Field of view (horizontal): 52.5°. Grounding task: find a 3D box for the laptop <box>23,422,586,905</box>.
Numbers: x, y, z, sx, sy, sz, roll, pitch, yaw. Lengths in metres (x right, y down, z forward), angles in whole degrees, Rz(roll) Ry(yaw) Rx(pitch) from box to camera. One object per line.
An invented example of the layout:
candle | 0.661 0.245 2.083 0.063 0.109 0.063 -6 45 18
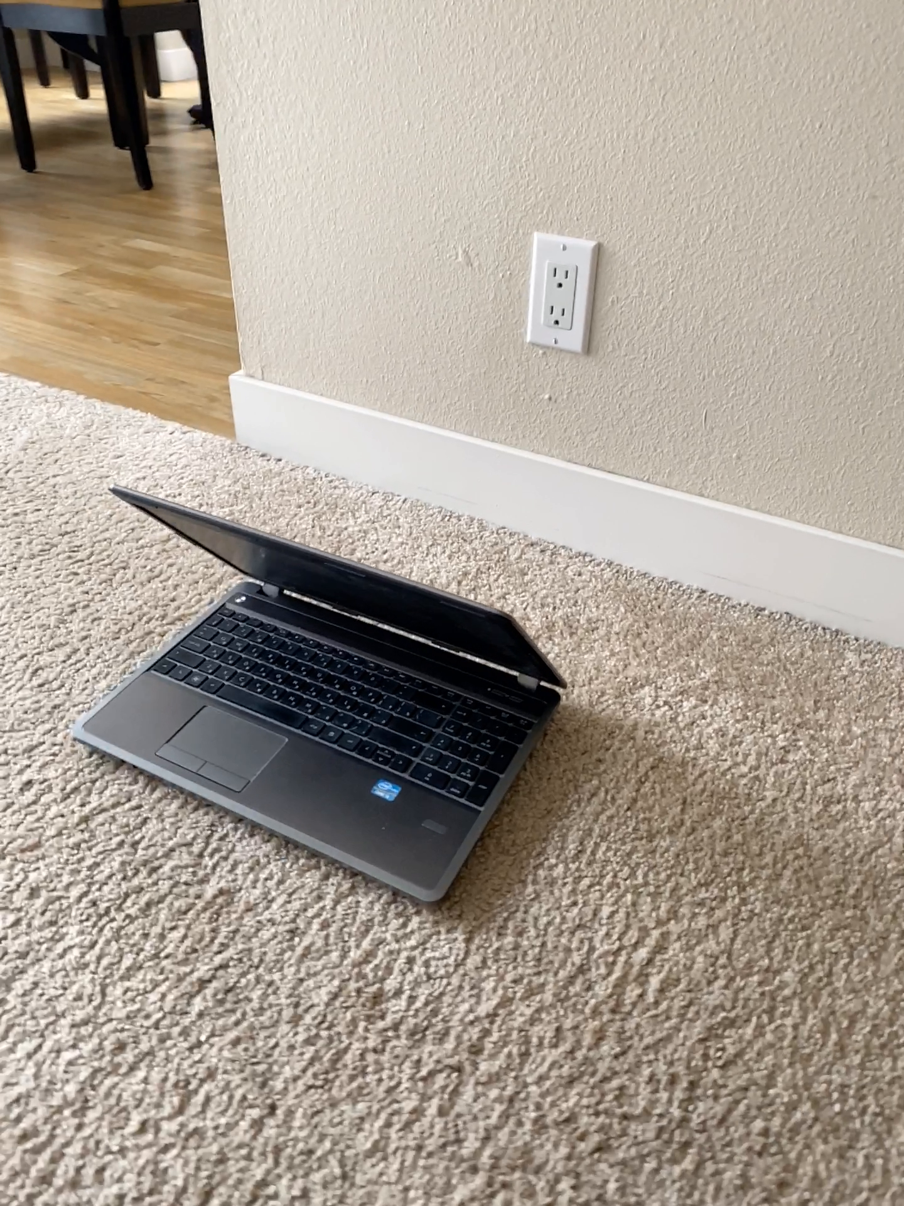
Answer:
laptop | -0.114 0.026 0.786 0.370 0.189 0.250 18 41 21
